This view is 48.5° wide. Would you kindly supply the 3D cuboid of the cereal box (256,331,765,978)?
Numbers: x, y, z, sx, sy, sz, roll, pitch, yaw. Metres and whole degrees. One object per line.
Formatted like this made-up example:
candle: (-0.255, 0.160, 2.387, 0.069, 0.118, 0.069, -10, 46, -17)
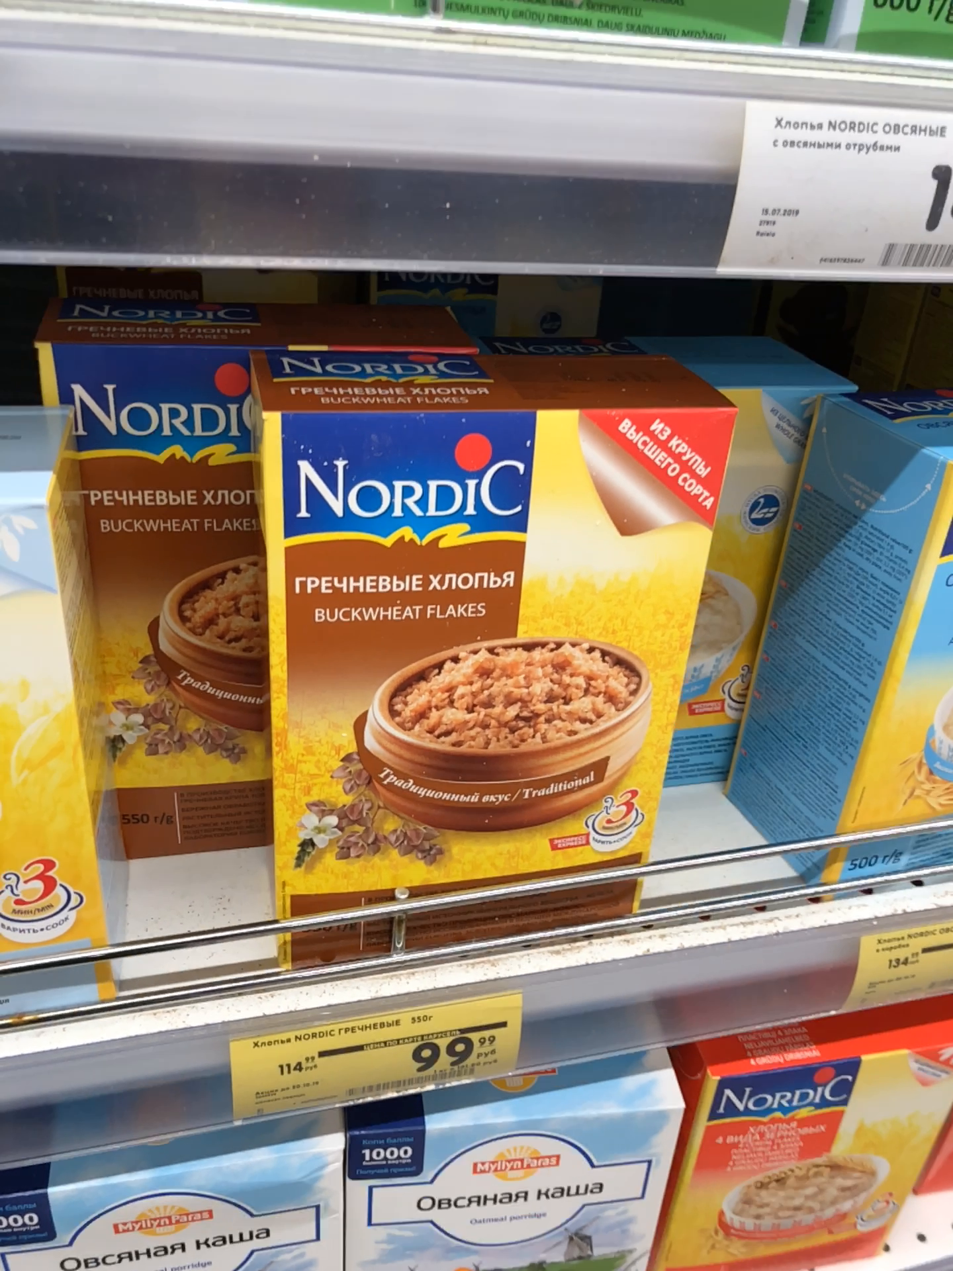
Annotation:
cereal box: (0.001, 0.009, 0.370, 0.140, 0.209, 0.070, -4, 30, -14)
